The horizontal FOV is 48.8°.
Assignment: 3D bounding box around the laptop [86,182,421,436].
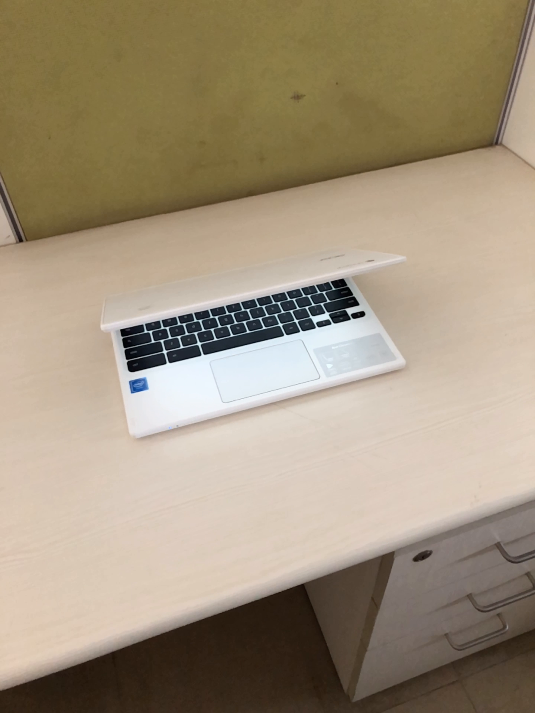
[{"bbox_3d":[-0.022,-0.063,0.627,0.290,0.105,0.197,-14,49,-12],"label":"laptop"}]
